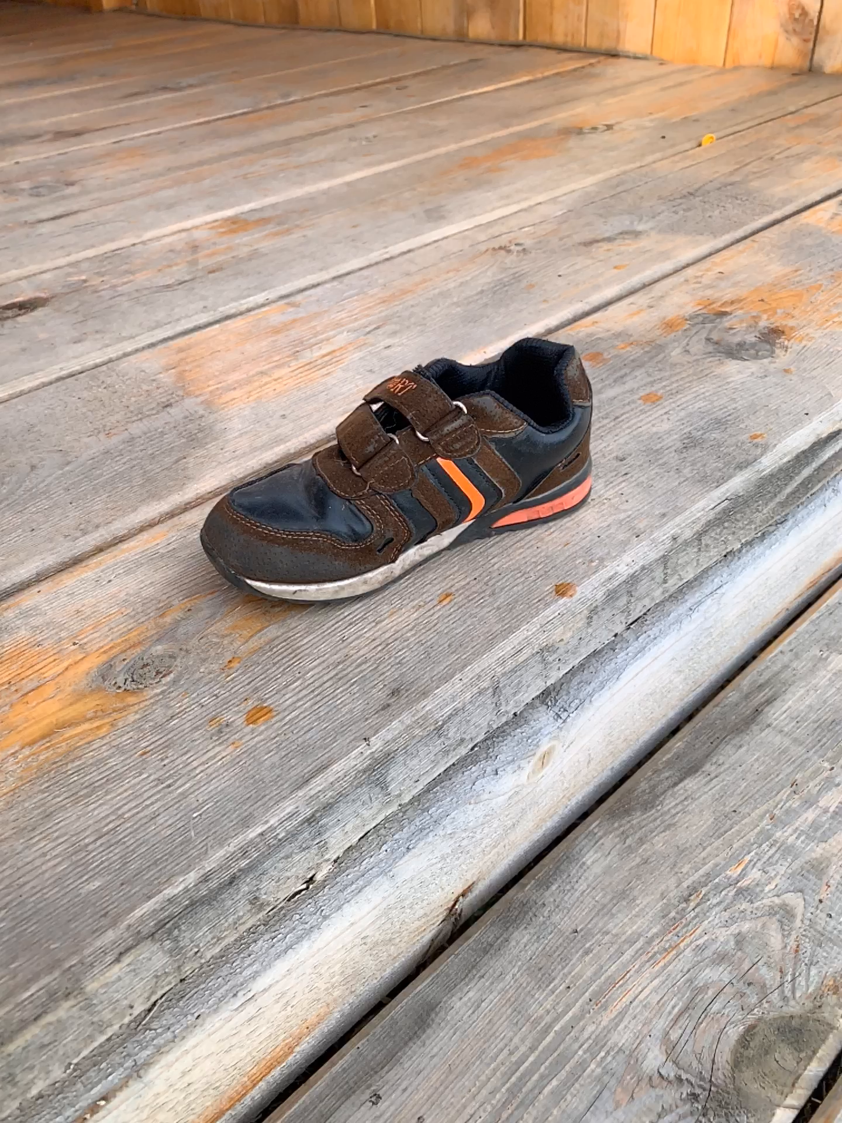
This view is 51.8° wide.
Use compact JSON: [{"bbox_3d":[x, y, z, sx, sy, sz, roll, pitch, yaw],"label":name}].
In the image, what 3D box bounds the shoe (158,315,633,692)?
[{"bbox_3d":[-0.008,-0.036,0.409,0.190,0.089,0.091,-22,41,-21],"label":"shoe"}]
